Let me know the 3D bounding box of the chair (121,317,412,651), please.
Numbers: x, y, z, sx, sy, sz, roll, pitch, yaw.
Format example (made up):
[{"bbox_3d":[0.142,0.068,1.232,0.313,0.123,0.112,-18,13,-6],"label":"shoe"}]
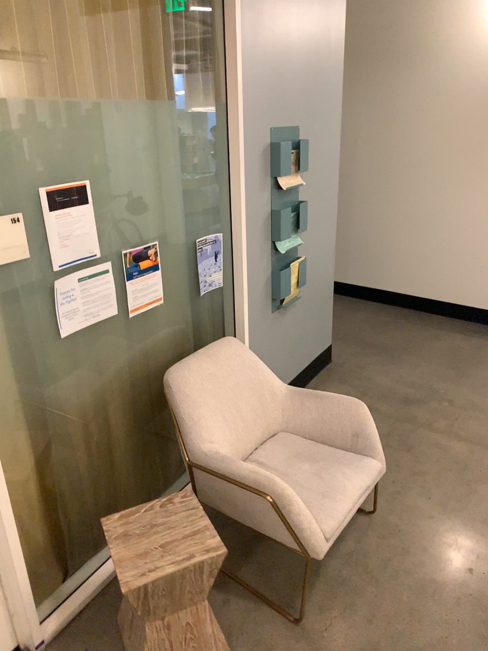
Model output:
[{"bbox_3d":[0.120,0.599,2.137,0.872,0.925,0.782,12,25,31],"label":"chair"}]
